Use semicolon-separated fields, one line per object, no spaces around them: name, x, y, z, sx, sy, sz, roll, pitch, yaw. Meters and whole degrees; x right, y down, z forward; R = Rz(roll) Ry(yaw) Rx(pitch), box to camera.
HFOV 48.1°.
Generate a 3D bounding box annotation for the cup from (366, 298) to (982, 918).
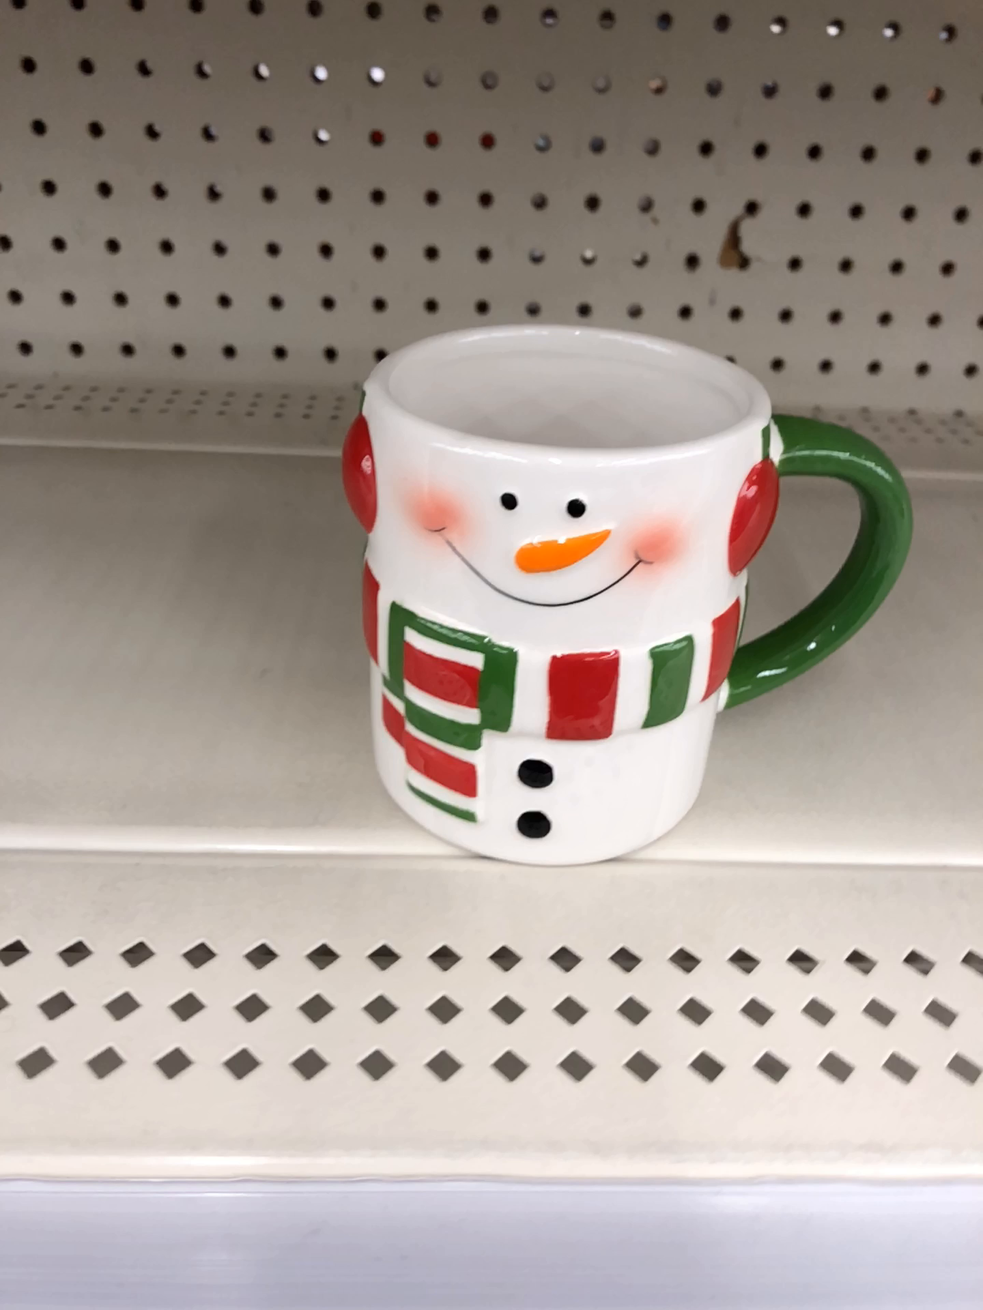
cup;0.037;-0.014;0.257;0.130;0.110;0.090;-1;33;-6
